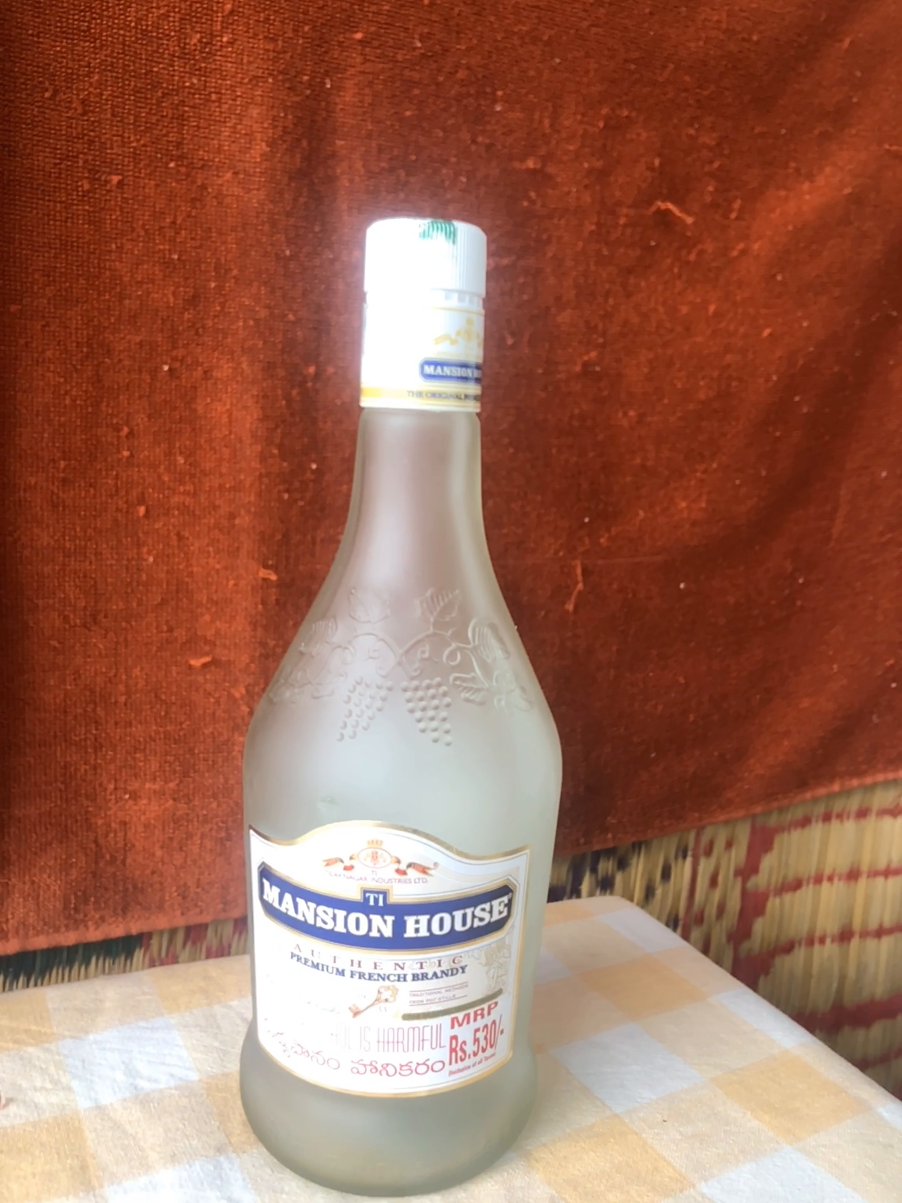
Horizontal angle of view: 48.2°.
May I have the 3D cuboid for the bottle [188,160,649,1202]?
[{"bbox_3d":[-0.007,0.022,0.282,0.090,0.249,0.090,5,10,-1],"label":"bottle"}]
